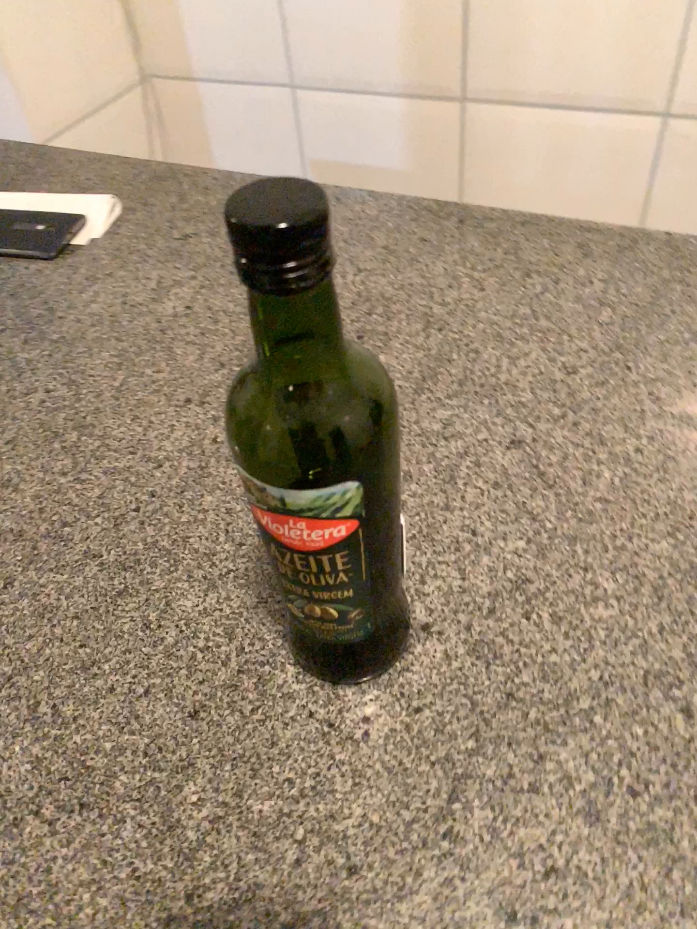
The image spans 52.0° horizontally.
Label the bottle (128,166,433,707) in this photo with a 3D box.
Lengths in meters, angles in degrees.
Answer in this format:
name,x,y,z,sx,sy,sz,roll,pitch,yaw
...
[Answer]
name,x,y,z,sx,sy,sz,roll,pitch,yaw
bottle,-0.007,0.011,0.291,0.070,0.239,0.060,10,49,15
